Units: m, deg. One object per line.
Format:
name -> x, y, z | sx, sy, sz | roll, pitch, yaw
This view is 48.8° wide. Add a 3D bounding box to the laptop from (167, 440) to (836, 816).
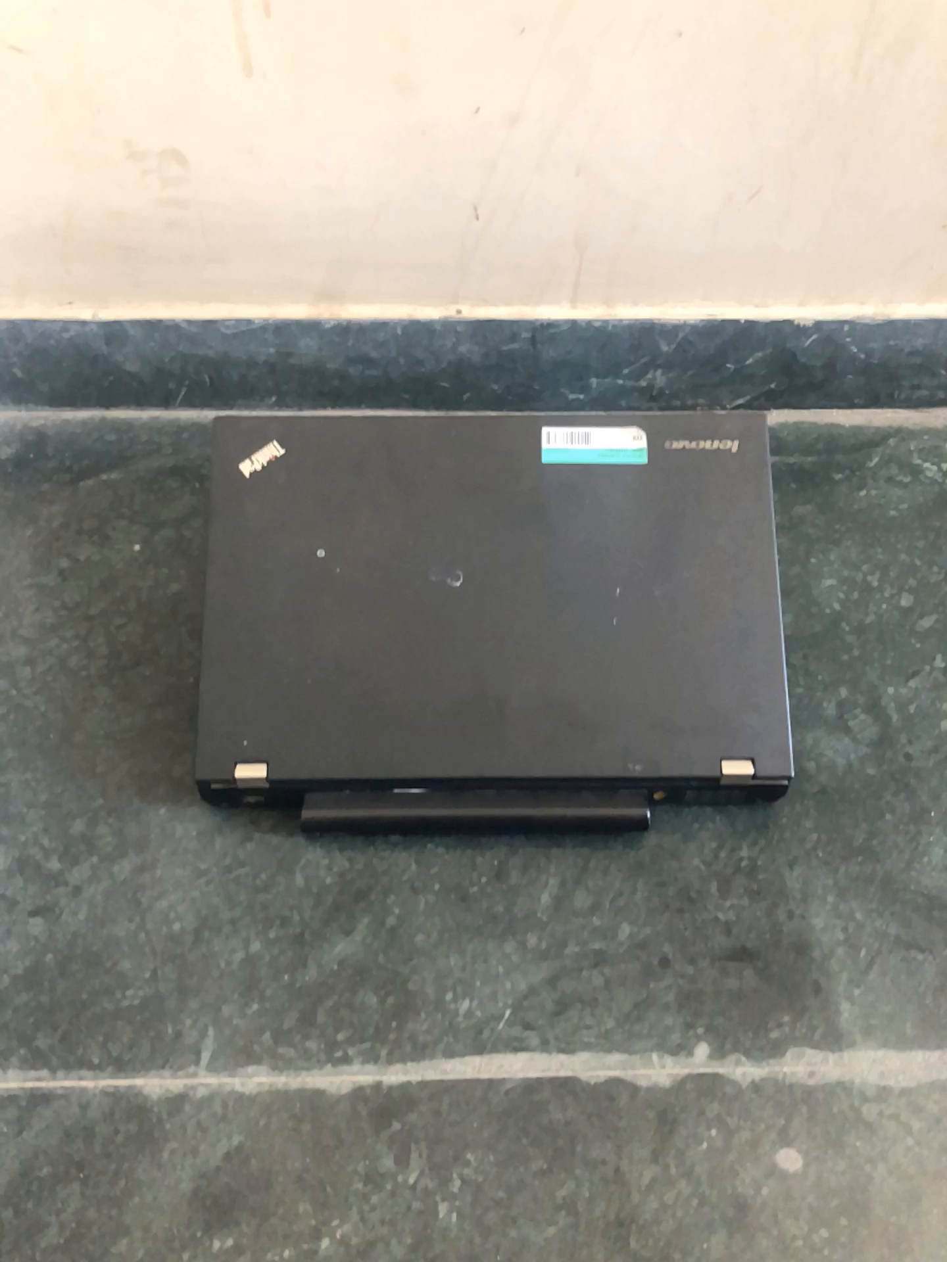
laptop -> 0.016, -0.008, 0.654 | 0.349, 0.094, 0.228 | 1, 49, -2
